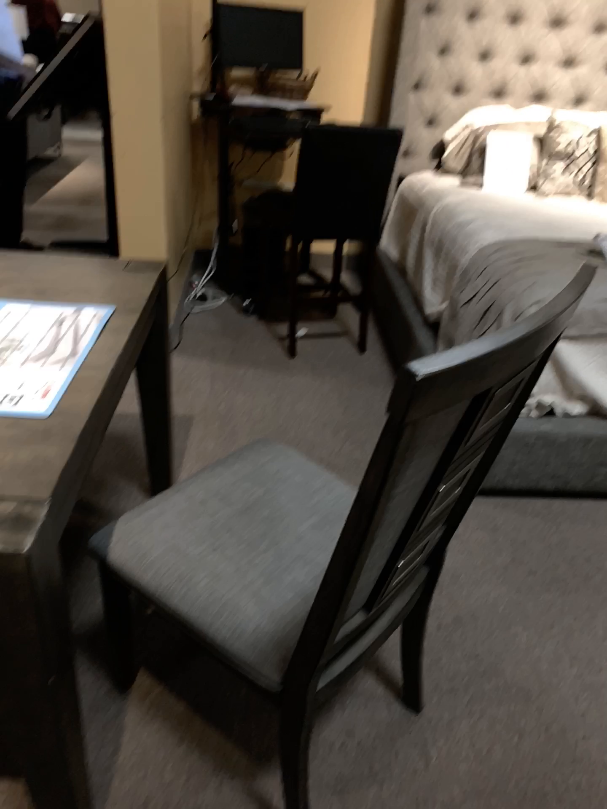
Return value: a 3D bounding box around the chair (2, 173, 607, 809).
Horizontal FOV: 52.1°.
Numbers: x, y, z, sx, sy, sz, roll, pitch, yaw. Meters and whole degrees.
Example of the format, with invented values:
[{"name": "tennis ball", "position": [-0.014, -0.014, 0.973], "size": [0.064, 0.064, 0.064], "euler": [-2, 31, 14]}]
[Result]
[{"name": "chair", "position": [-0.027, 0.200, 1.088], "size": [0.644, 0.997, 0.515], "euler": [25, 35, 30]}]
